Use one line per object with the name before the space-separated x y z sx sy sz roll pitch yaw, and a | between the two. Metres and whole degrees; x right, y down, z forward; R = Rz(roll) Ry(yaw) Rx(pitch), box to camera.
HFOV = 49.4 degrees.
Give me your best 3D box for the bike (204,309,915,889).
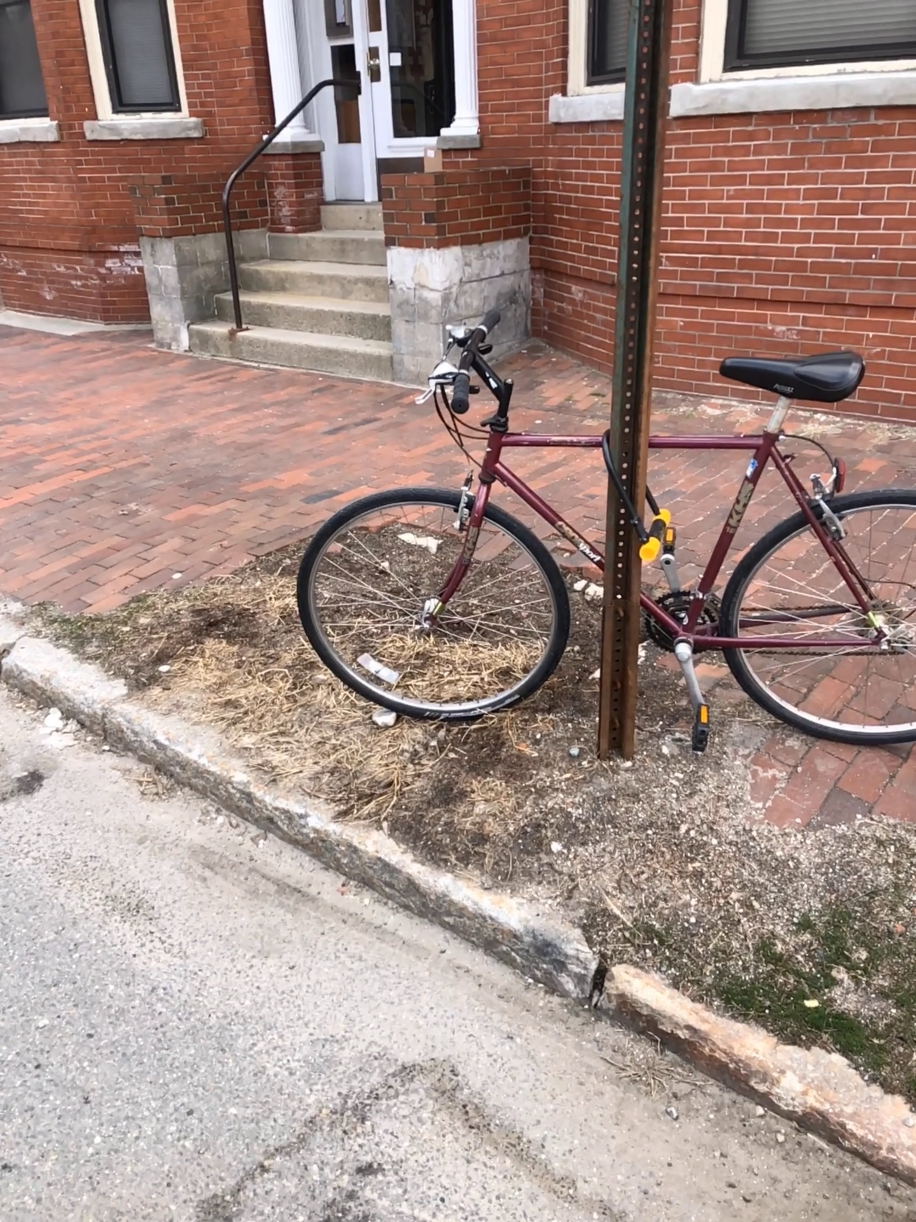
bike | 0.439 -0.101 2.242 1.726 1.012 0.671 3 25 12
